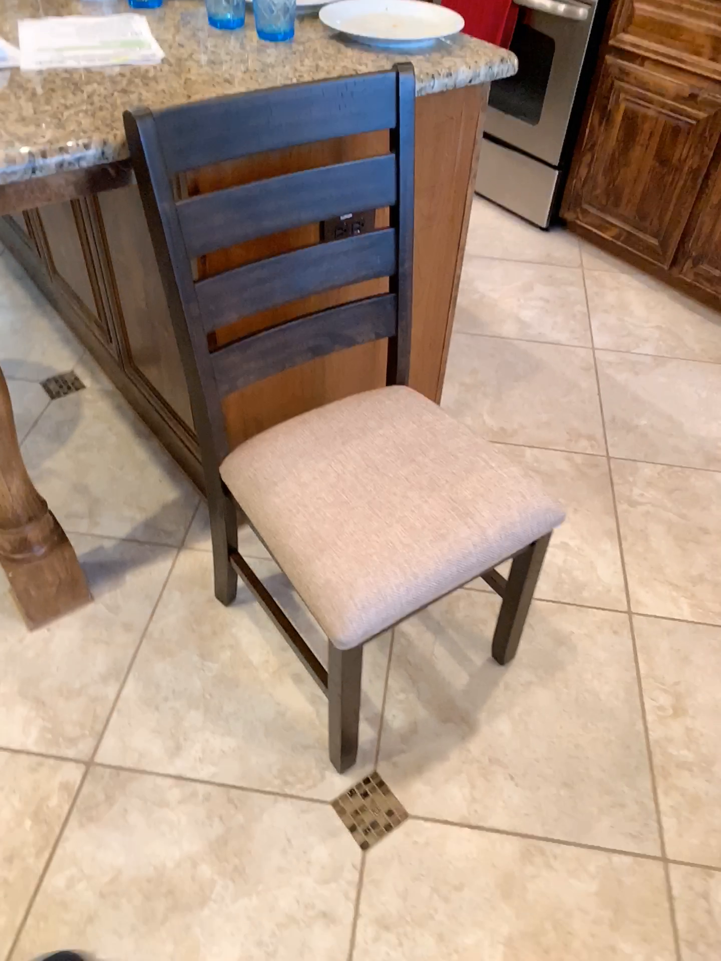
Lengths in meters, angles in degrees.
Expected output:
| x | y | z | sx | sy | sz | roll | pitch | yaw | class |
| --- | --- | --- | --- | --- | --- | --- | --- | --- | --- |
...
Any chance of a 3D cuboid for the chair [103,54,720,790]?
| x | y | z | sx | sy | sz | roll | pitch | yaw | class |
| --- | --- | --- | --- | --- | --- | --- | --- | --- | --- |
| 0.020 | -0.054 | 1.145 | 0.468 | 0.910 | 0.526 | -26 | 52 | -26 | chair |
